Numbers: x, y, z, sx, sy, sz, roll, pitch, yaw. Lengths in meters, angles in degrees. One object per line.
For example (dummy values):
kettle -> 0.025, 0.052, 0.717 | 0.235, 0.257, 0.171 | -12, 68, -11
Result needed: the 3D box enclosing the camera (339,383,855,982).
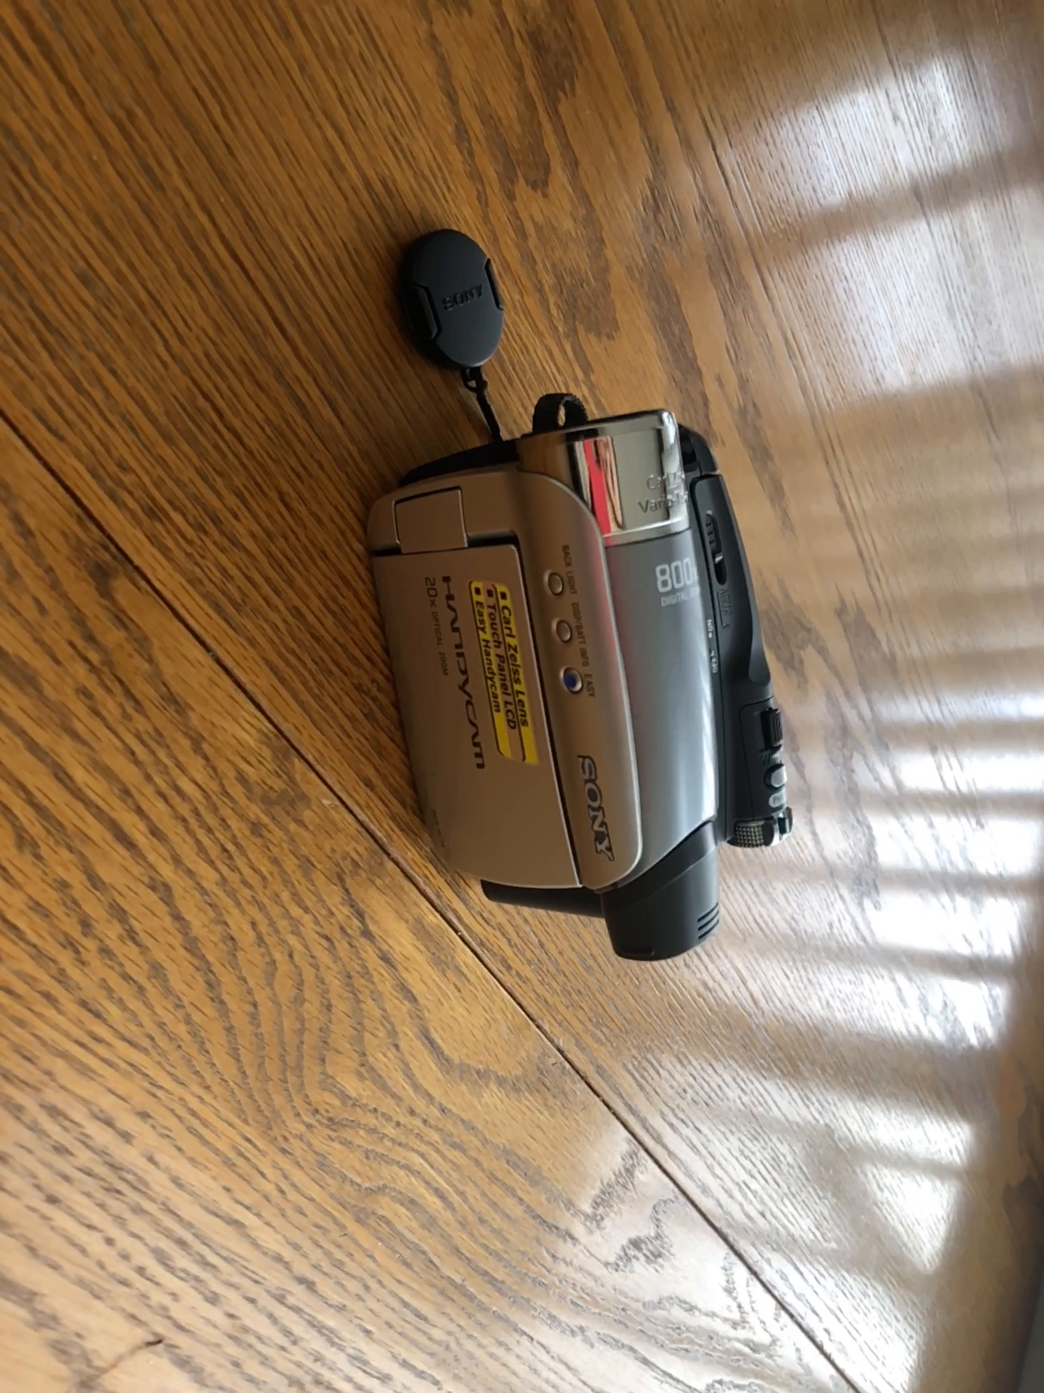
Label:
camera -> 0.022, -0.008, 0.272 | 0.080, 0.072, 0.111 | -25, 110, -48
